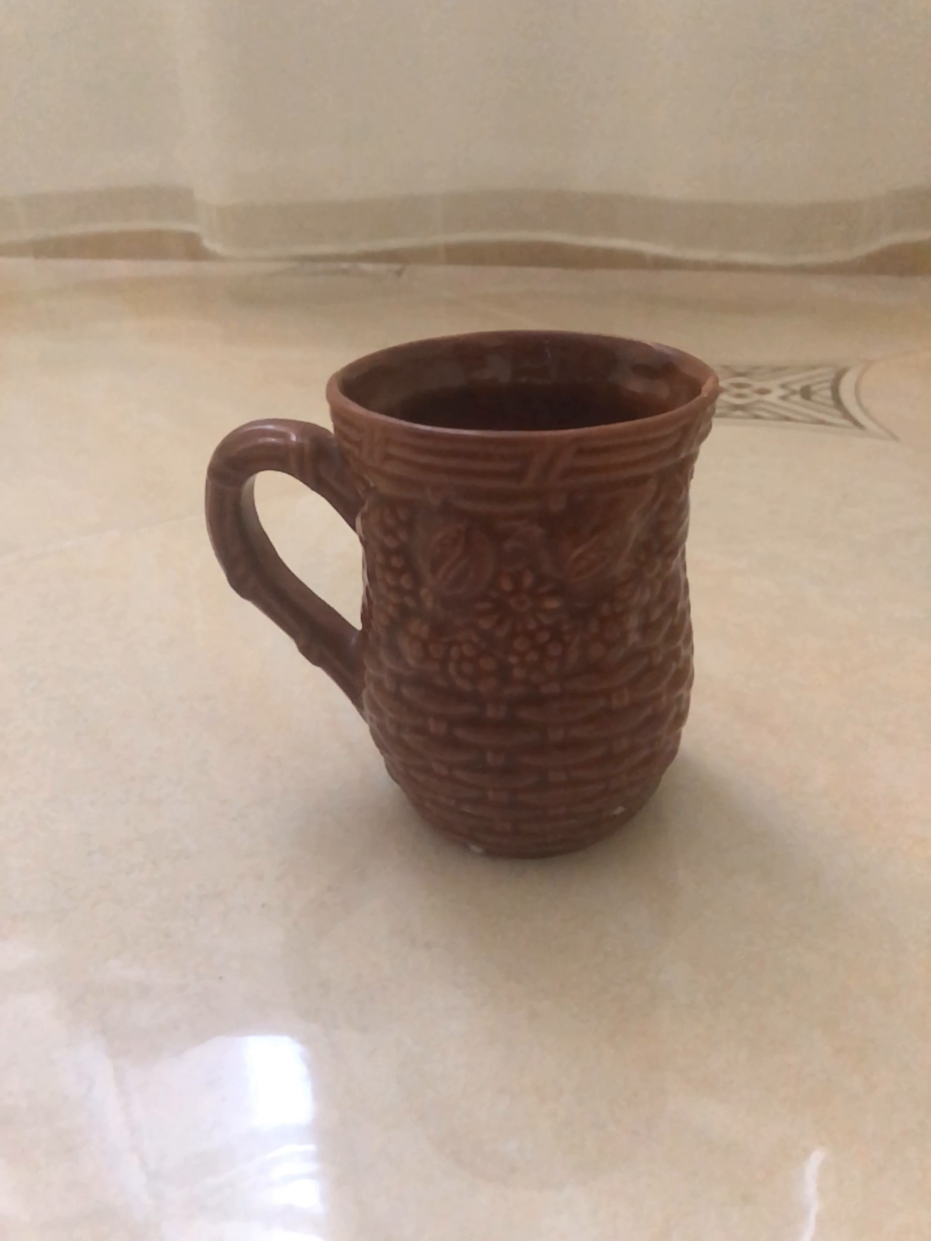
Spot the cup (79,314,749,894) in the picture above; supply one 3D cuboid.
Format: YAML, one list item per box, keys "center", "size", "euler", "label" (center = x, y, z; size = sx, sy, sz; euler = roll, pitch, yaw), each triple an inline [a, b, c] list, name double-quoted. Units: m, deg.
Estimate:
- center: [-0.004, -0.011, 0.212]
  size: [0.104, 0.081, 0.073]
  euler: [9, 30, 20]
  label: "cup"
